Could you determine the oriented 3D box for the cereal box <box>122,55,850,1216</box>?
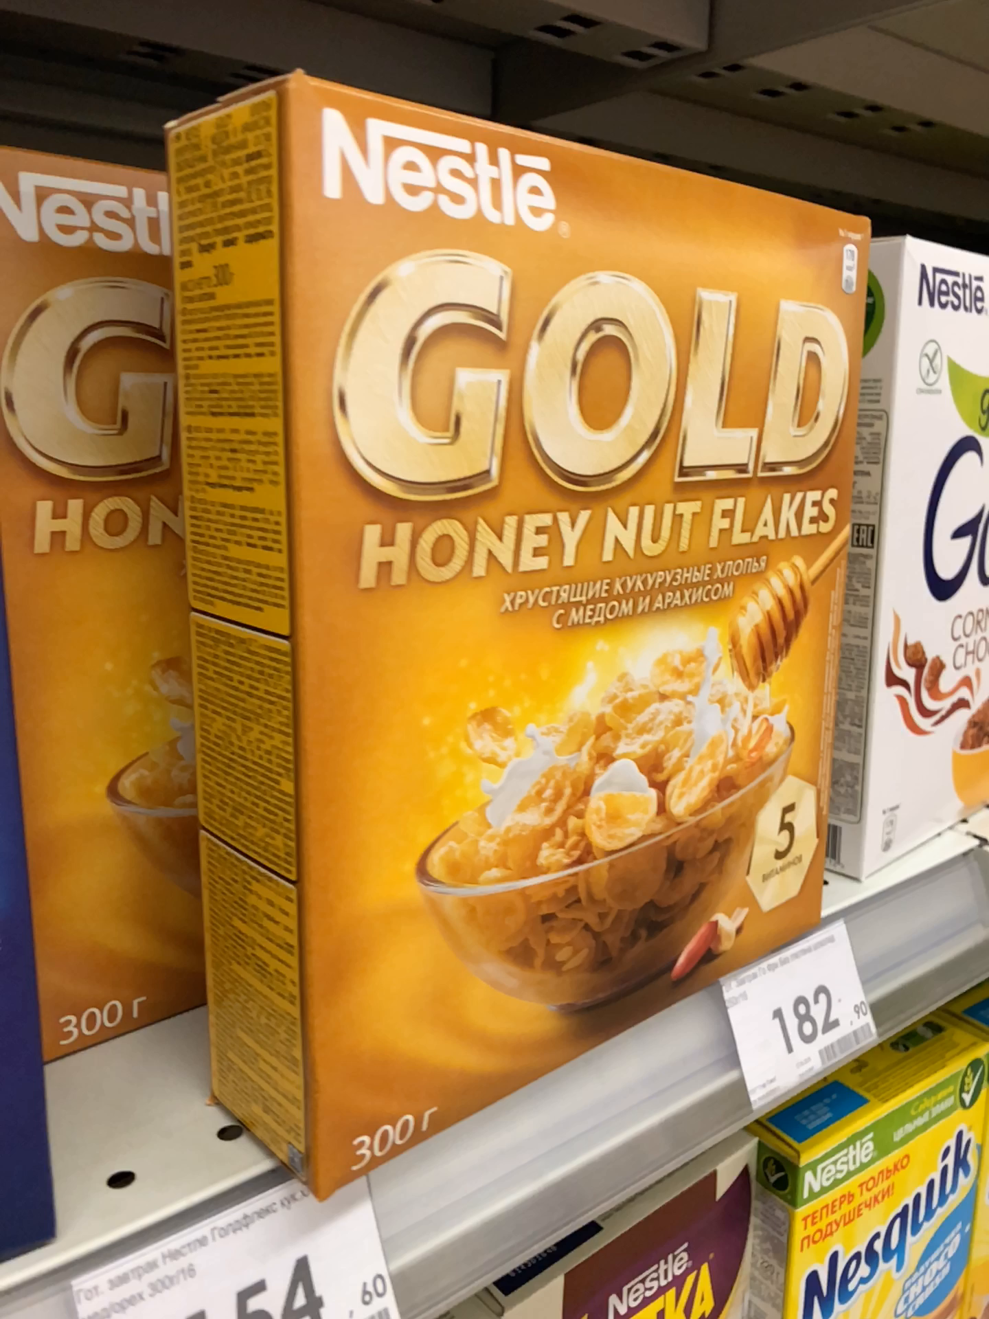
[{"bbox_3d":[0.013,-0.010,0.285,0.191,0.219,0.050,-10,15,-41],"label":"cereal box"}]
